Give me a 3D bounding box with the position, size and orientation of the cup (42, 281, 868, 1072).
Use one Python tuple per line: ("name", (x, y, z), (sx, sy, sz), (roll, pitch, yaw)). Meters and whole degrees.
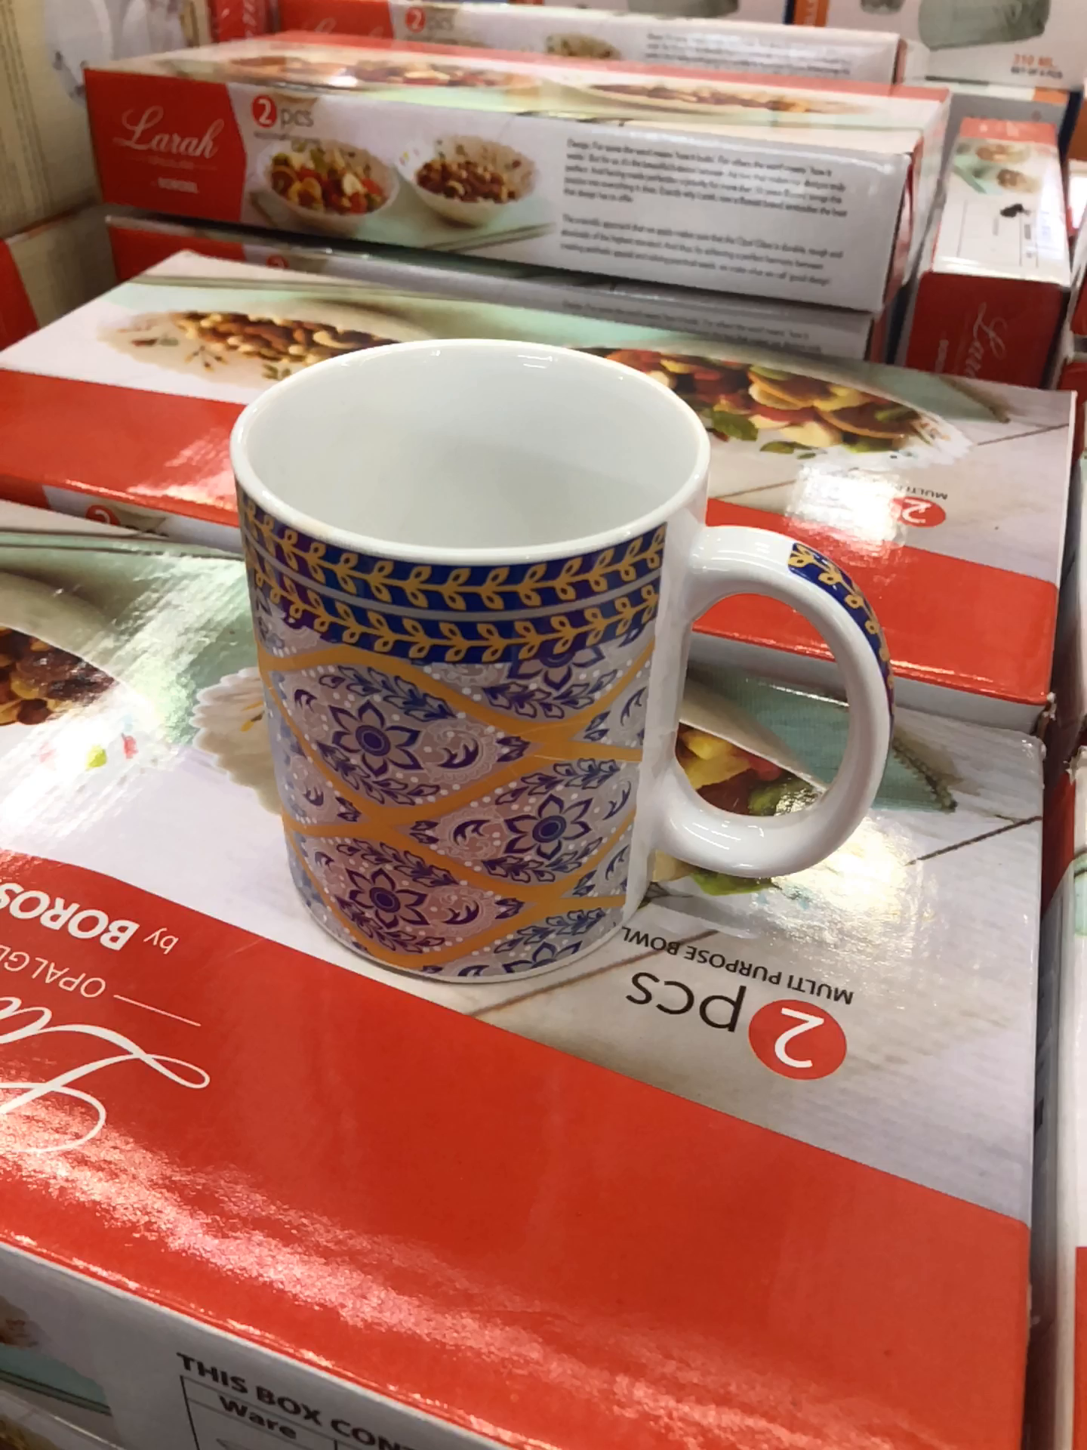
("cup", (-0.008, -0.012, 0.218), (0.110, 0.099, 0.081), (9, 37, 8))
